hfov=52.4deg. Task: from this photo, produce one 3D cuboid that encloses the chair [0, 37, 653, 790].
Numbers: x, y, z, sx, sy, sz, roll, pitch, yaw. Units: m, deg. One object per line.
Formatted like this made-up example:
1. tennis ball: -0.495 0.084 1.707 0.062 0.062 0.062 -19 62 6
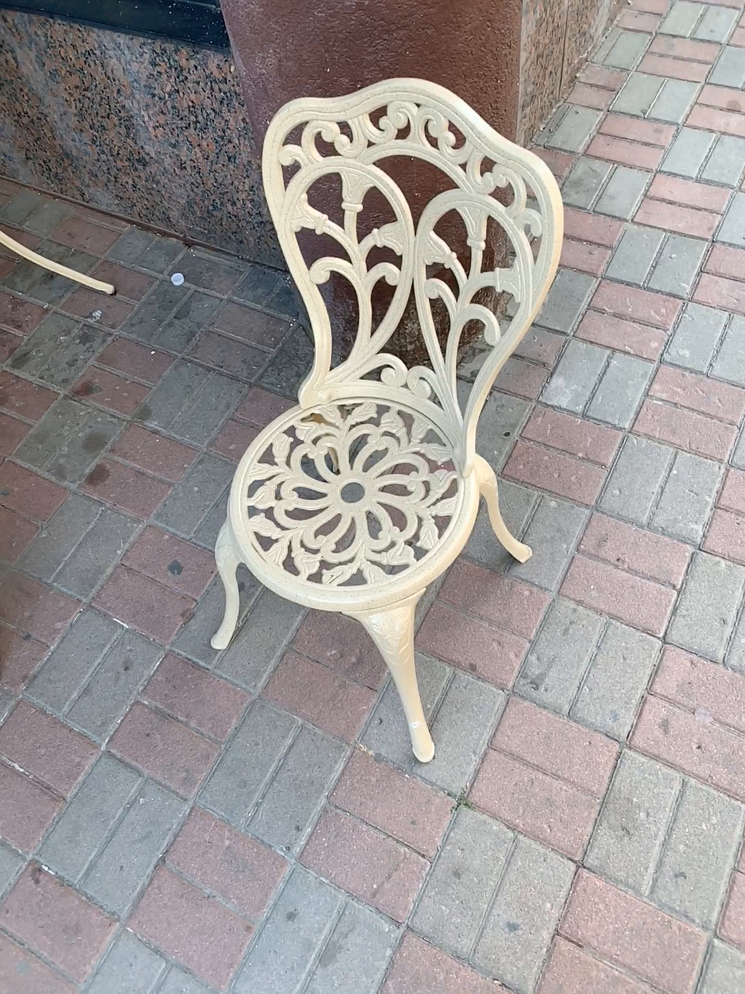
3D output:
1. chair: -0.024 -0.046 1.057 0.481 0.798 0.551 24 64 20
